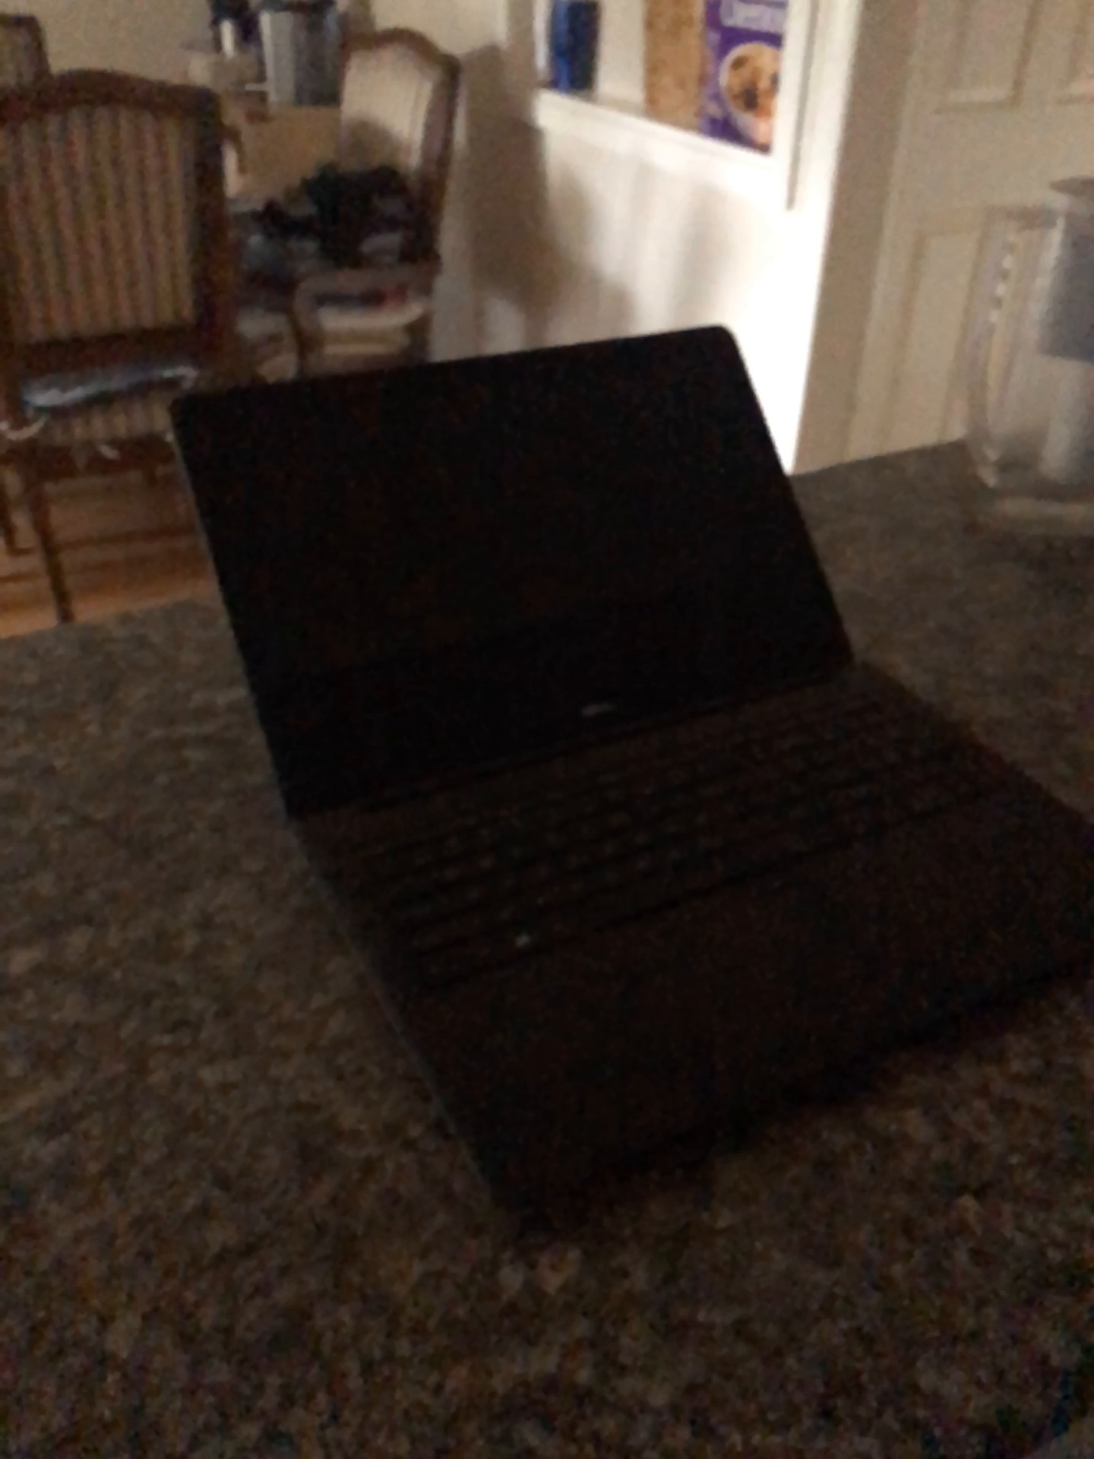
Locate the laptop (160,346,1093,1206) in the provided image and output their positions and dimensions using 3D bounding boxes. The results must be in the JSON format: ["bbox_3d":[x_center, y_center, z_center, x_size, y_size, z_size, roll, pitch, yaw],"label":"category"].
[{"bbox_3d":[0.043,-0.040,0.623,0.361,0.158,0.416,-15,38,-24],"label":"laptop"}]
